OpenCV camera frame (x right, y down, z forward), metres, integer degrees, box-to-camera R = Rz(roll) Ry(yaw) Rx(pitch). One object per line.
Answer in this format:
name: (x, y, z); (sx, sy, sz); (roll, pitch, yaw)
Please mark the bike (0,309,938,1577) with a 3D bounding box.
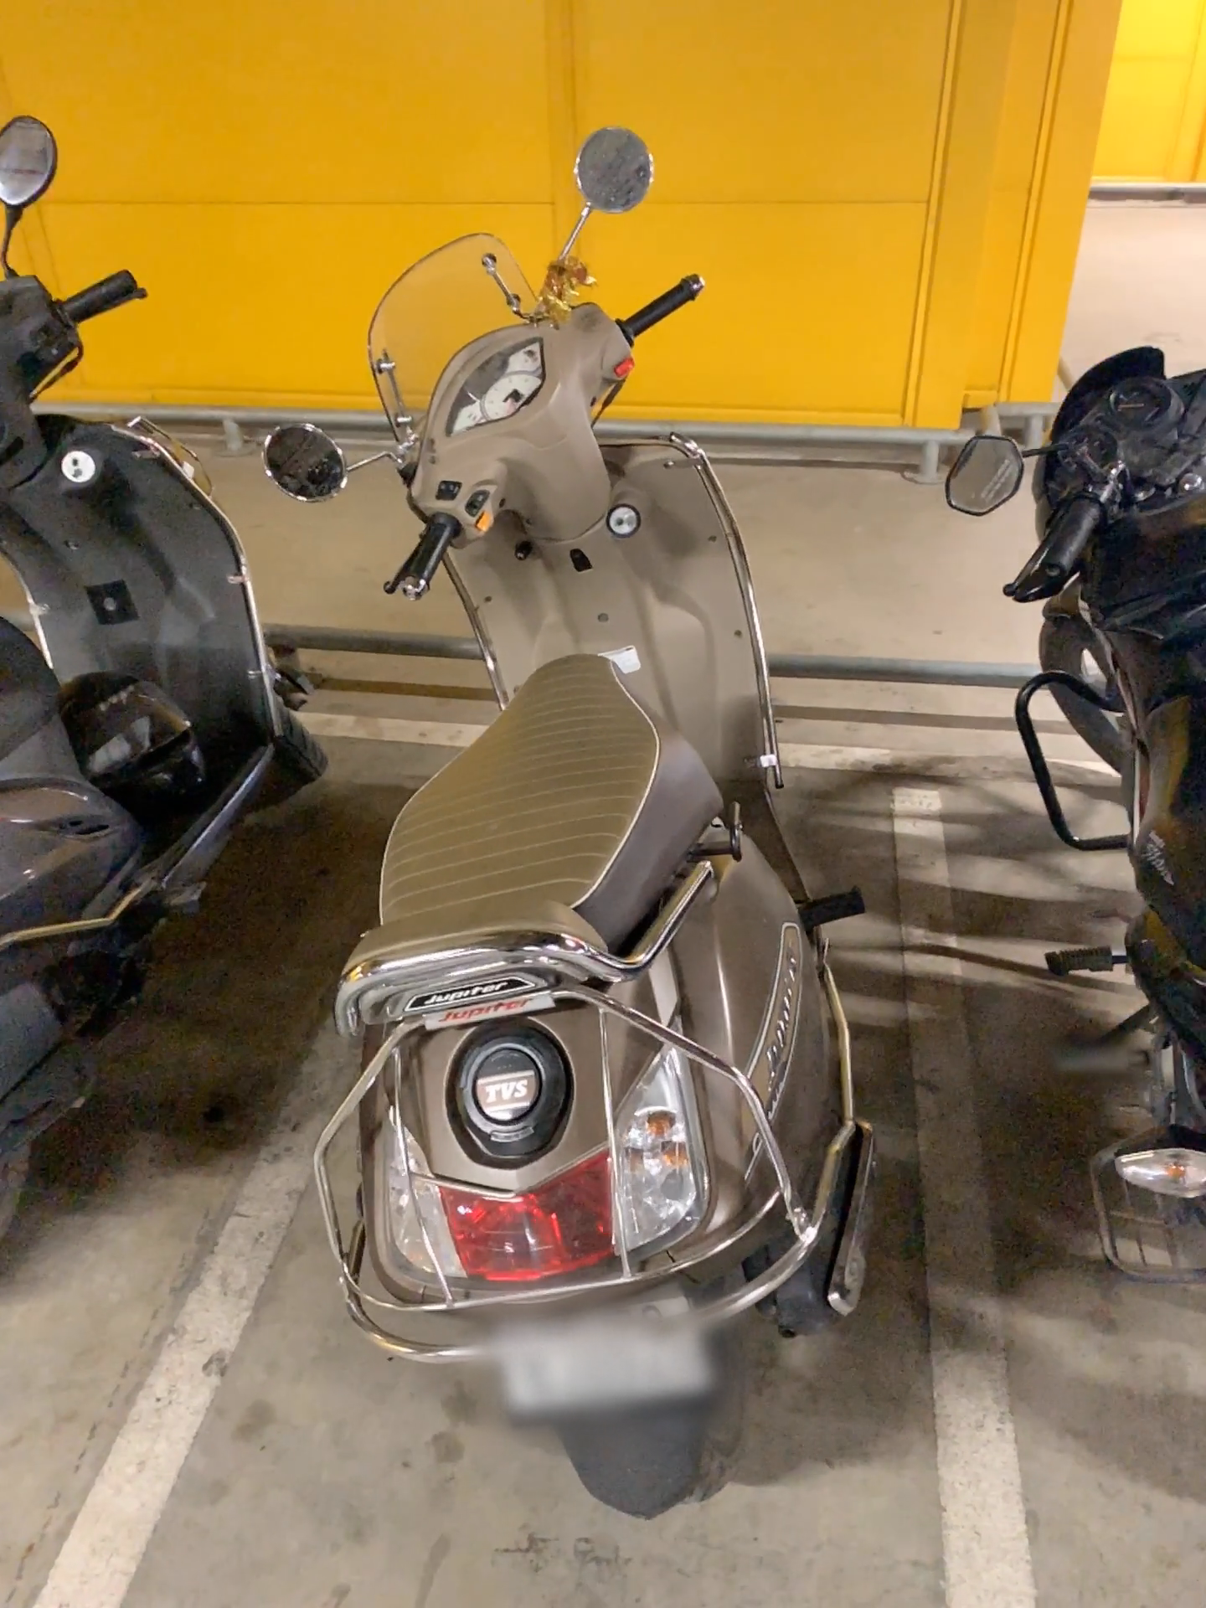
bike: (-0.126, -0.009, 1.686); (0.603, 1.027, 1.563); (-2, 31, -1)
